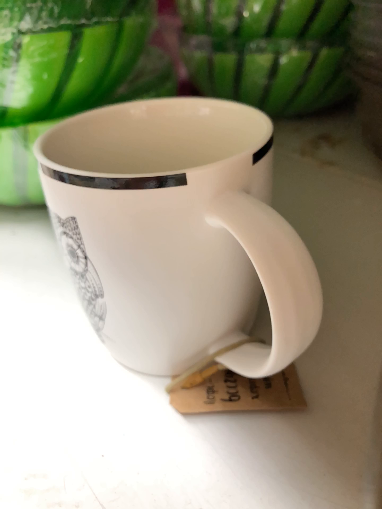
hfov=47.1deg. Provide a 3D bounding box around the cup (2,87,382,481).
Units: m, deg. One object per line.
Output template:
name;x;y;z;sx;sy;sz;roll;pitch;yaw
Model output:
cup;-0.003;-0.003;0.172;0.077;0.093;0.111;-27;38;-31
